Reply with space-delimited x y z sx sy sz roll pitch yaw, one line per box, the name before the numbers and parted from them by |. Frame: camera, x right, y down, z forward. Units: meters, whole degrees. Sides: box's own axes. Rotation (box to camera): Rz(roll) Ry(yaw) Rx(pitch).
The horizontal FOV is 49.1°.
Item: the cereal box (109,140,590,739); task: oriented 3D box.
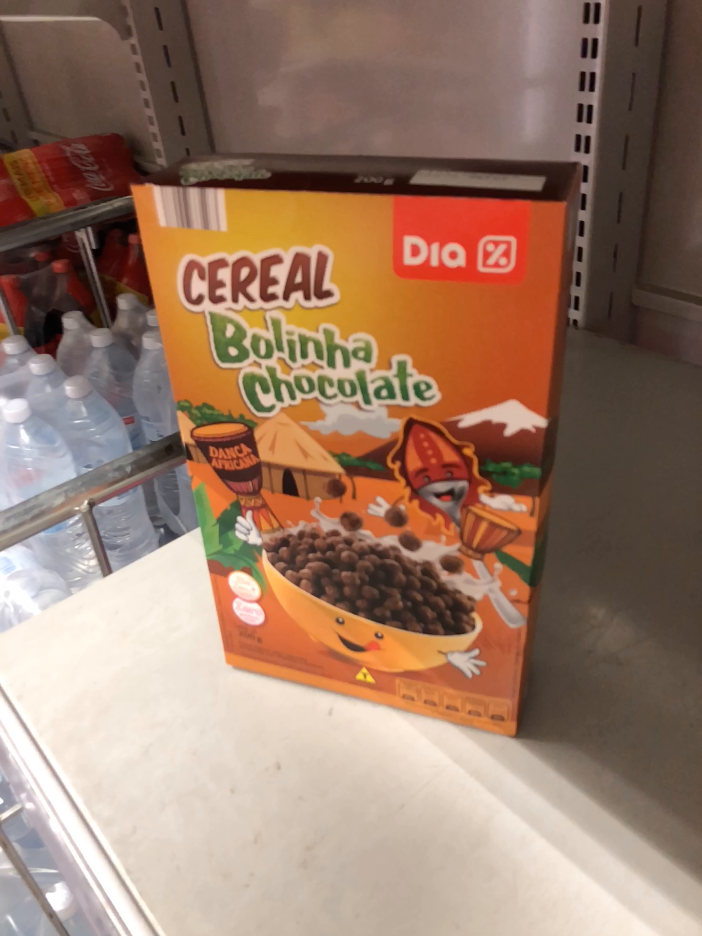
cereal box | 0.003 -0.005 0.356 0.170 0.258 0.060 9 33 17
